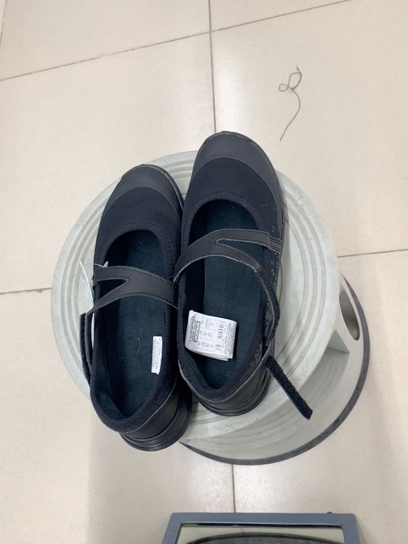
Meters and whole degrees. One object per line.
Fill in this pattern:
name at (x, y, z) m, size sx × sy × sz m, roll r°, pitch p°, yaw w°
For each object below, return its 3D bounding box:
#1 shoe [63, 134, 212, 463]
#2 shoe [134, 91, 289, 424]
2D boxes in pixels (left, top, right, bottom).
shoe at (-0.055, 0.020, 0.360) m, size 0.090 × 0.080 × 0.250 m, roll -8°, pitch 72°, yaw 12°
shoe at (0.014, -0.011, 0.347) m, size 0.100 × 0.080 × 0.250 m, roll -2°, pitch 73°, yaw 14°
